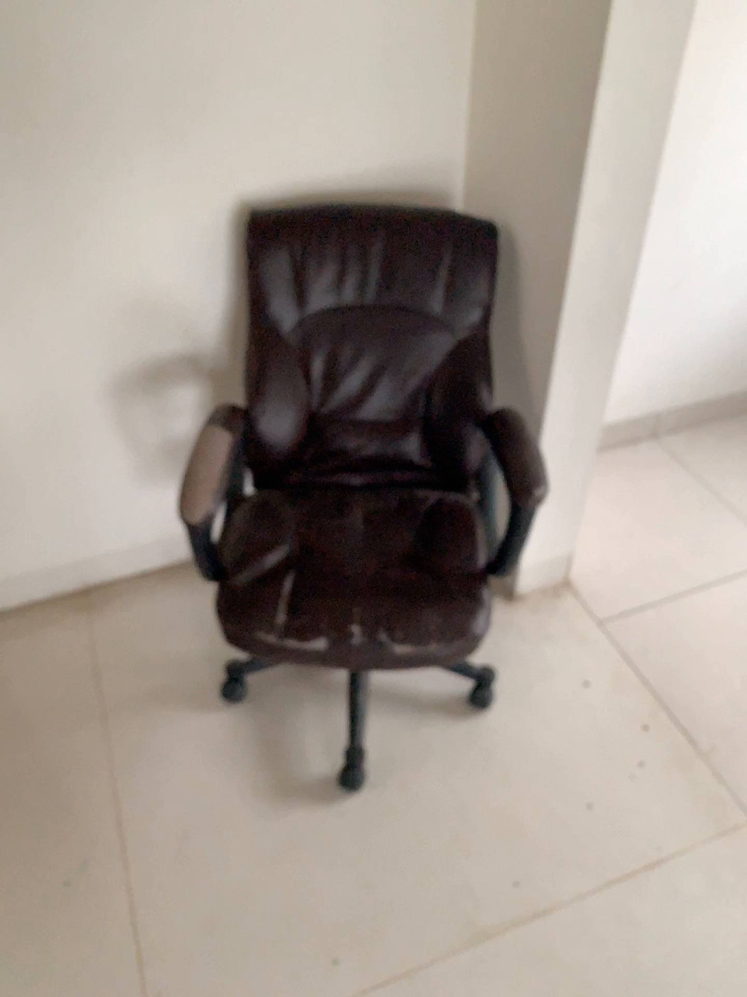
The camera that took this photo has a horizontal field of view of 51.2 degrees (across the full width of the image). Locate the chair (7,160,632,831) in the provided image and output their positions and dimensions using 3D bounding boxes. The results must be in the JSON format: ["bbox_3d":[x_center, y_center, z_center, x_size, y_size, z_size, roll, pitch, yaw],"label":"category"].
[{"bbox_3d":[-0.049,-0.001,1.494,0.700,0.996,0.793,1,41,2],"label":"chair"}]
